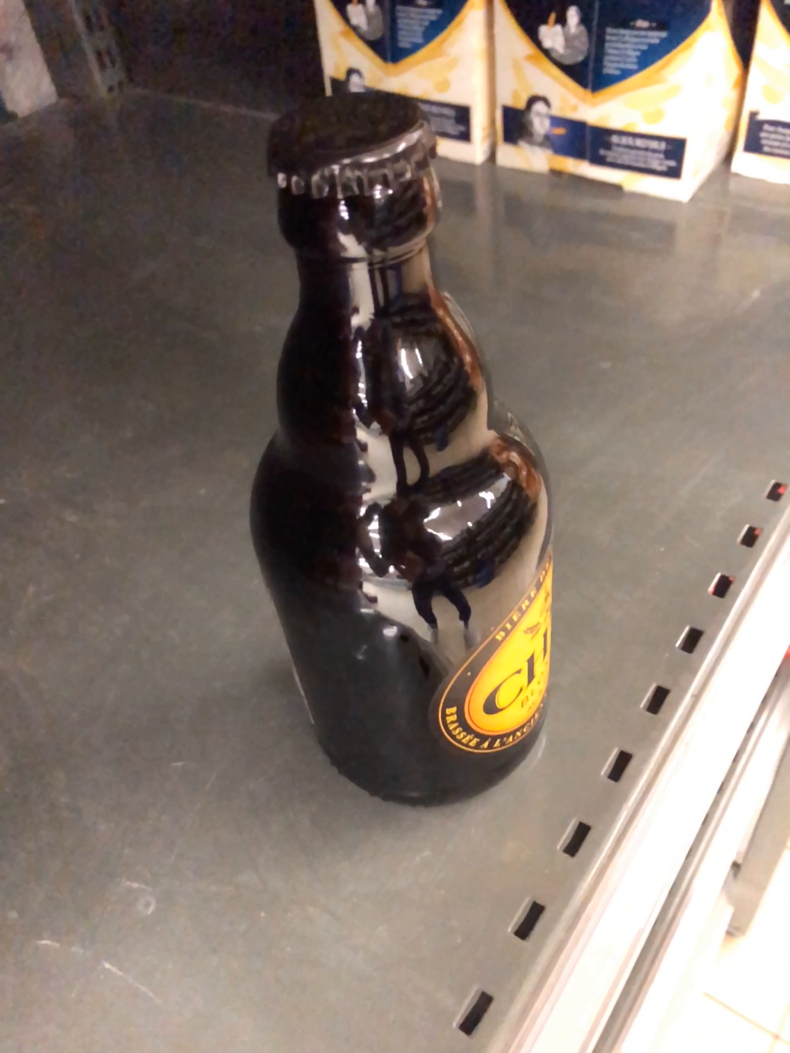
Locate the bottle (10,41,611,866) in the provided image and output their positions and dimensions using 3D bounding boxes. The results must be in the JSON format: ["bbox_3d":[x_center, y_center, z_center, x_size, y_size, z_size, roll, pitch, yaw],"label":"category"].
[{"bbox_3d":[-0.001,-0.004,0.198,0.070,0.169,0.070,-5,46,5],"label":"bottle"}]
